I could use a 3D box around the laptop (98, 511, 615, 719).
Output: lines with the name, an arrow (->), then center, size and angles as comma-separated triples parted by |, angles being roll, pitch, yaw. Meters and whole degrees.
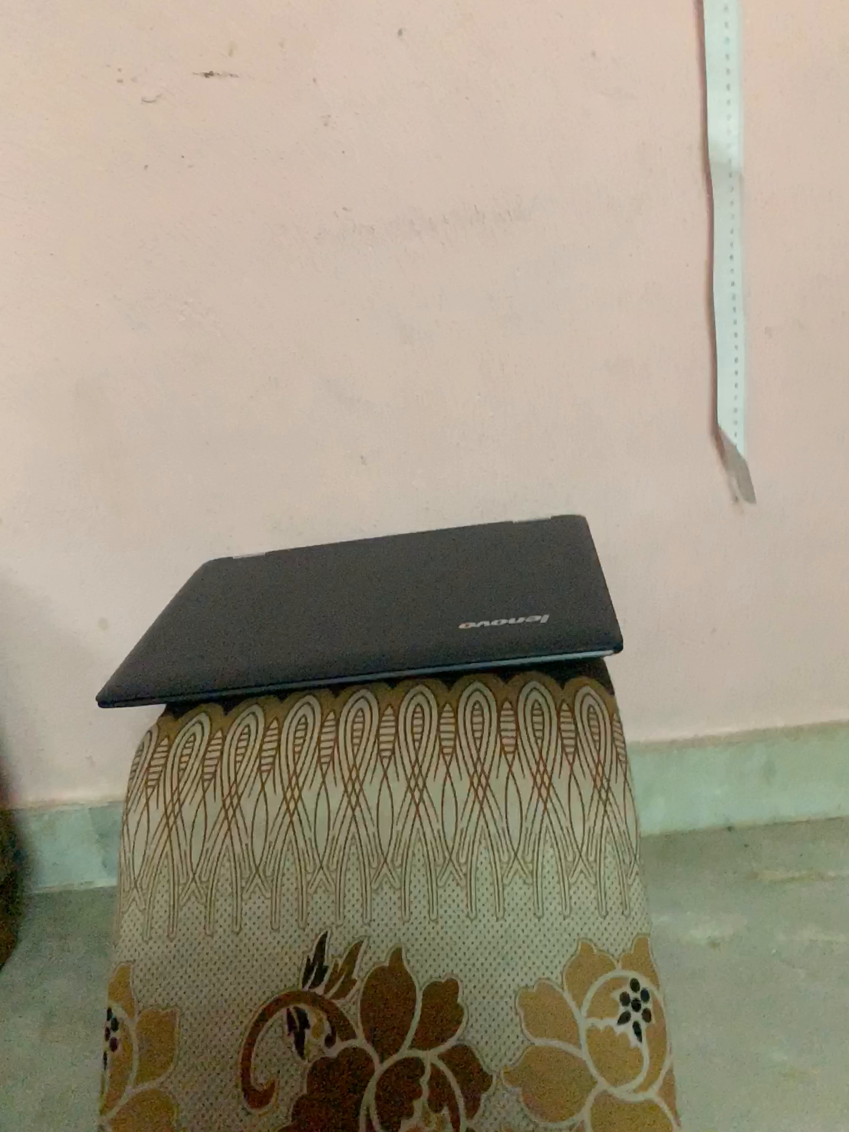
laptop -> -0.036, 0.025, 0.612 | 0.312, 0.012, 0.214 | -7, 23, 7
